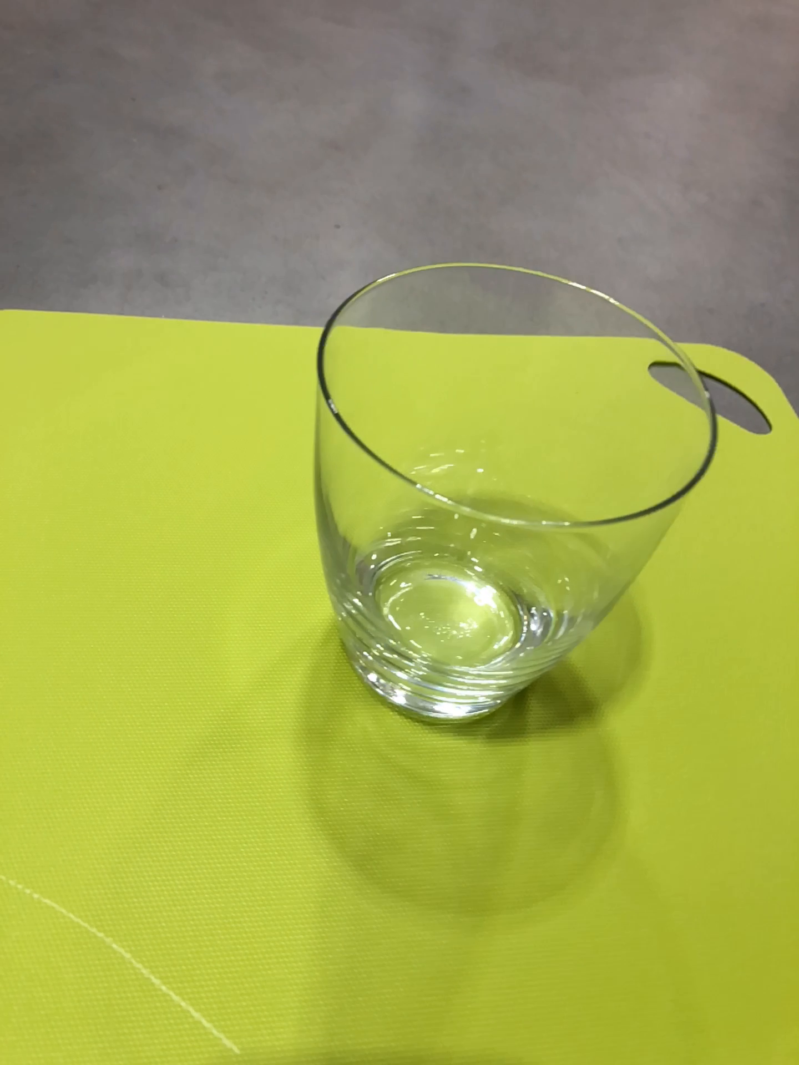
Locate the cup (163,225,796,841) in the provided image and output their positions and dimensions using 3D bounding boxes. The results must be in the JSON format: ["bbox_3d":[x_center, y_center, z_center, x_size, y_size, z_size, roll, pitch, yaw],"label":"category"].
[{"bbox_3d":[0.012,-0.007,0.247,0.110,0.090,0.110,5,47,-6],"label":"cup"}]
